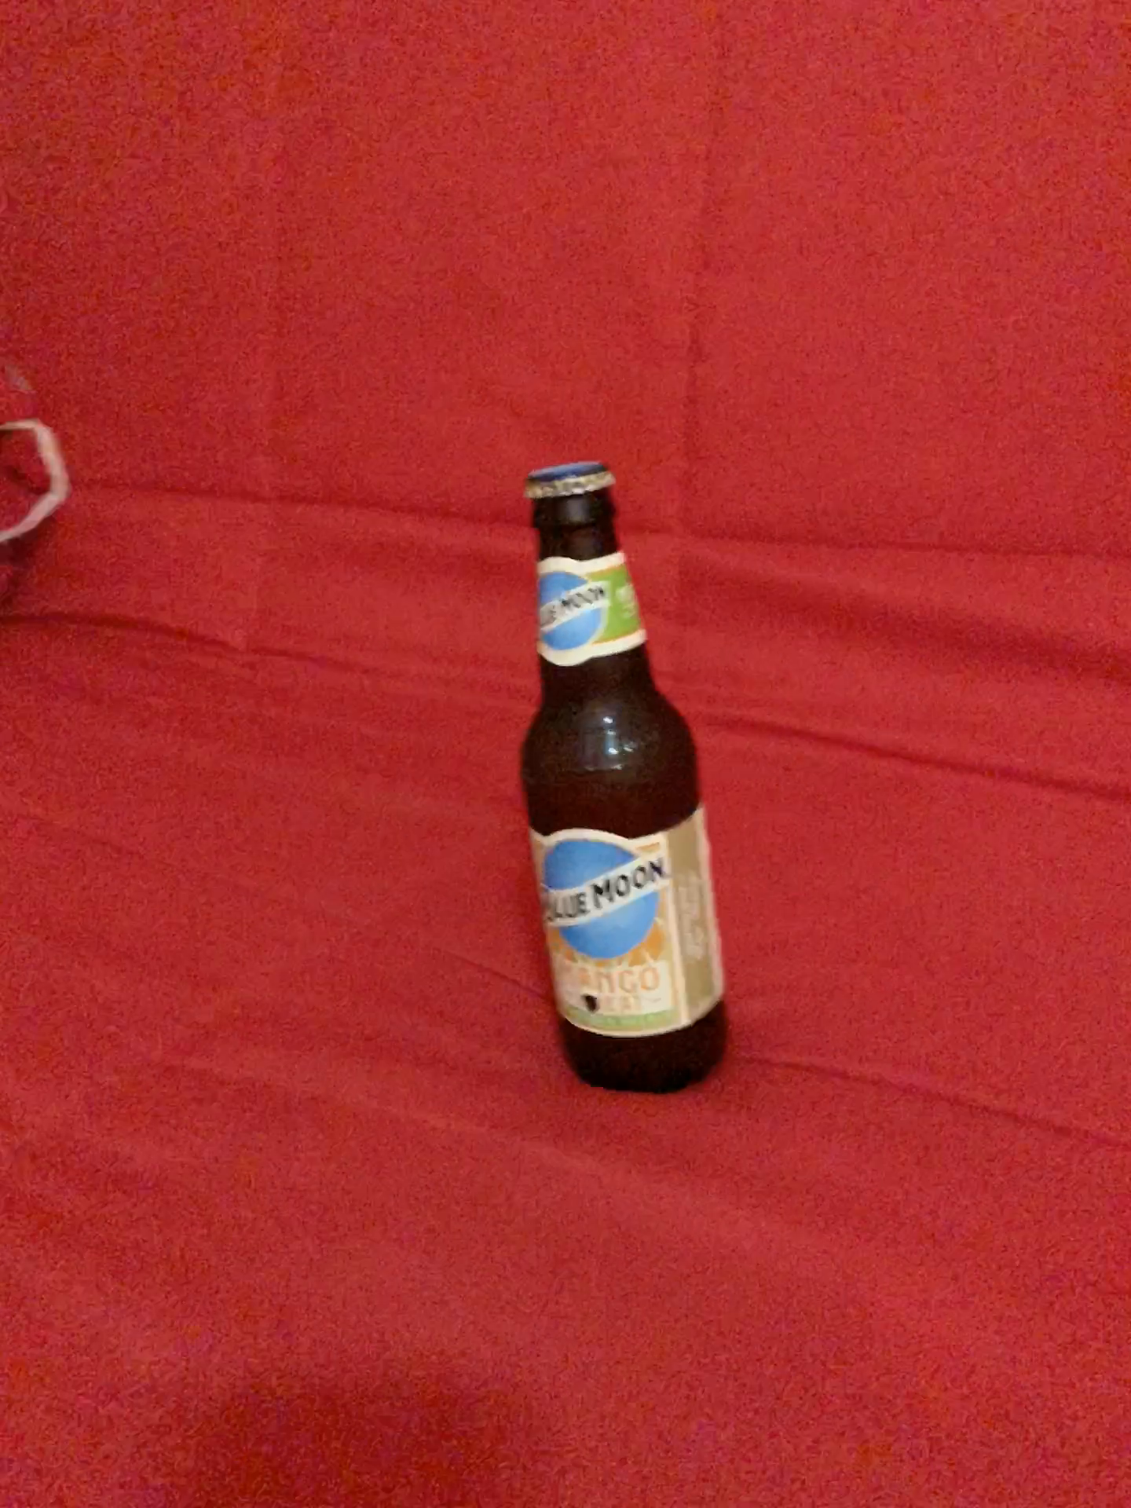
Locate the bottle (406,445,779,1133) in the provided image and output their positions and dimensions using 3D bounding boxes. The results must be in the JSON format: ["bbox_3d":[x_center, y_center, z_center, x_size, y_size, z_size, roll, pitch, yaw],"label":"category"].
[{"bbox_3d":[0.017,0.013,0.399,0.070,0.216,0.069,-9,22,4],"label":"bottle"}]
